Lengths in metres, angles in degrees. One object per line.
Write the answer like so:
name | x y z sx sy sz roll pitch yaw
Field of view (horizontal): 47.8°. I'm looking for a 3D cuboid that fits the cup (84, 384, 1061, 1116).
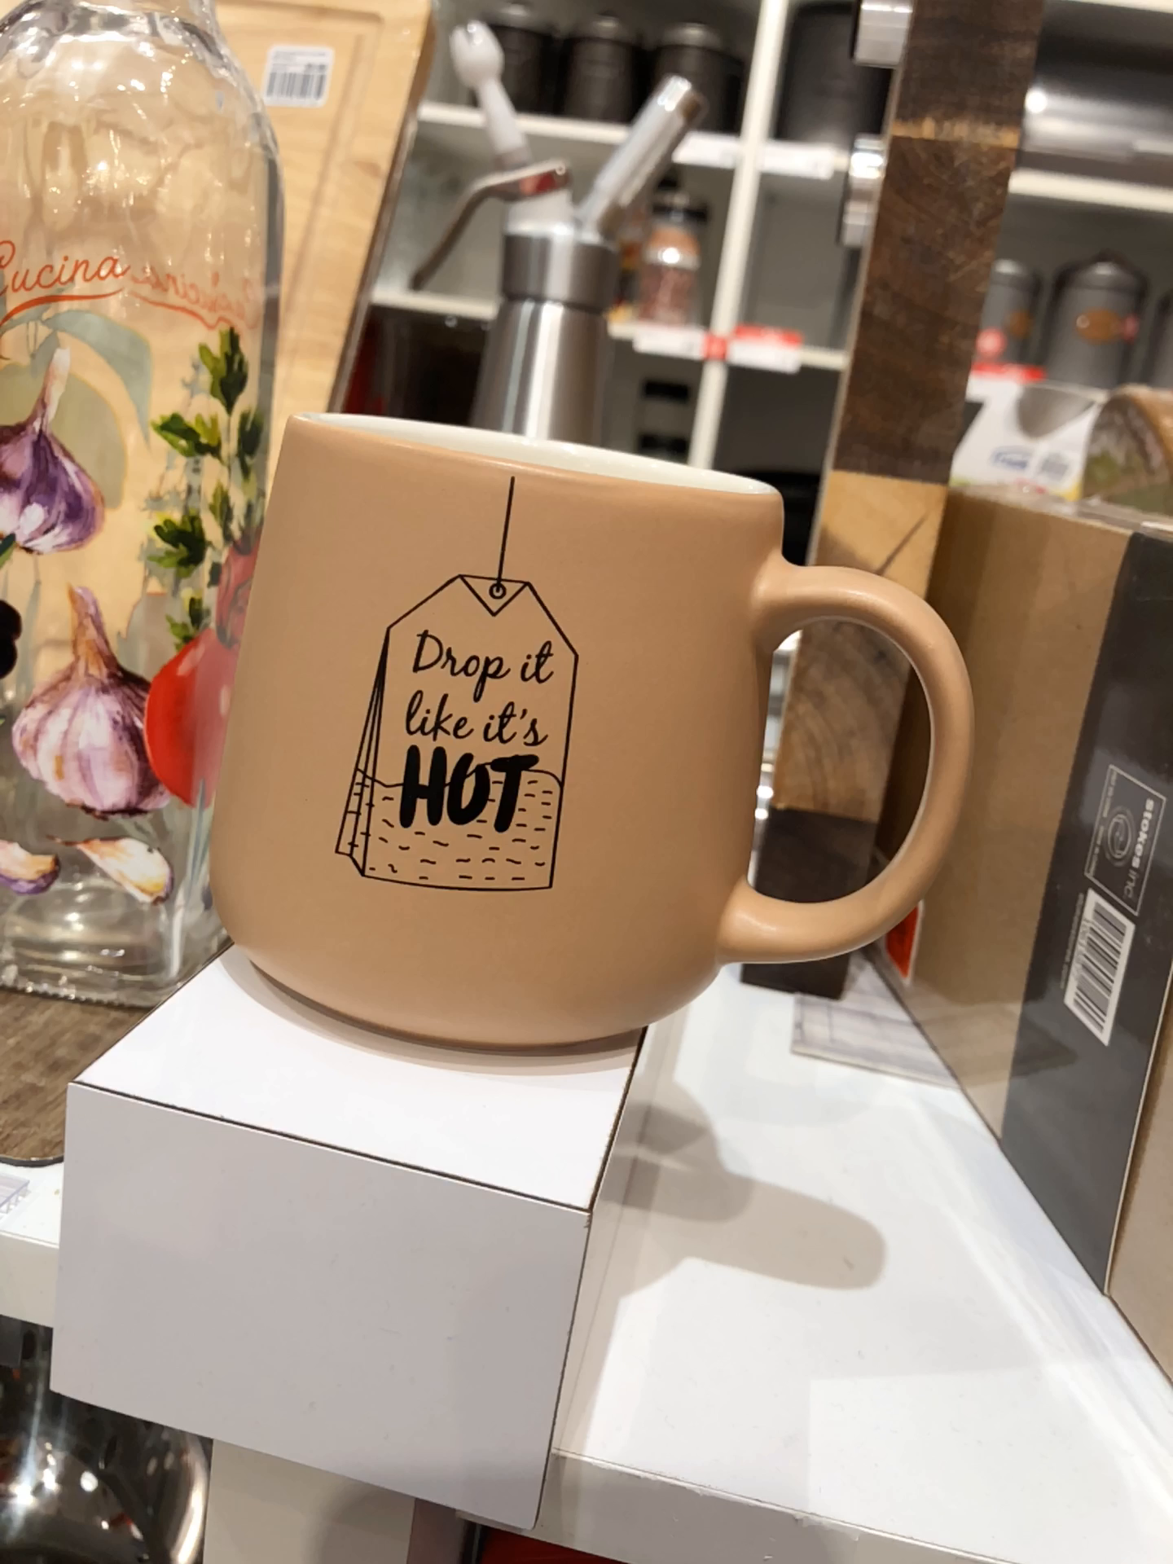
cup | -0.007 -0.012 0.206 0.110 0.080 0.090 7 16 -6
